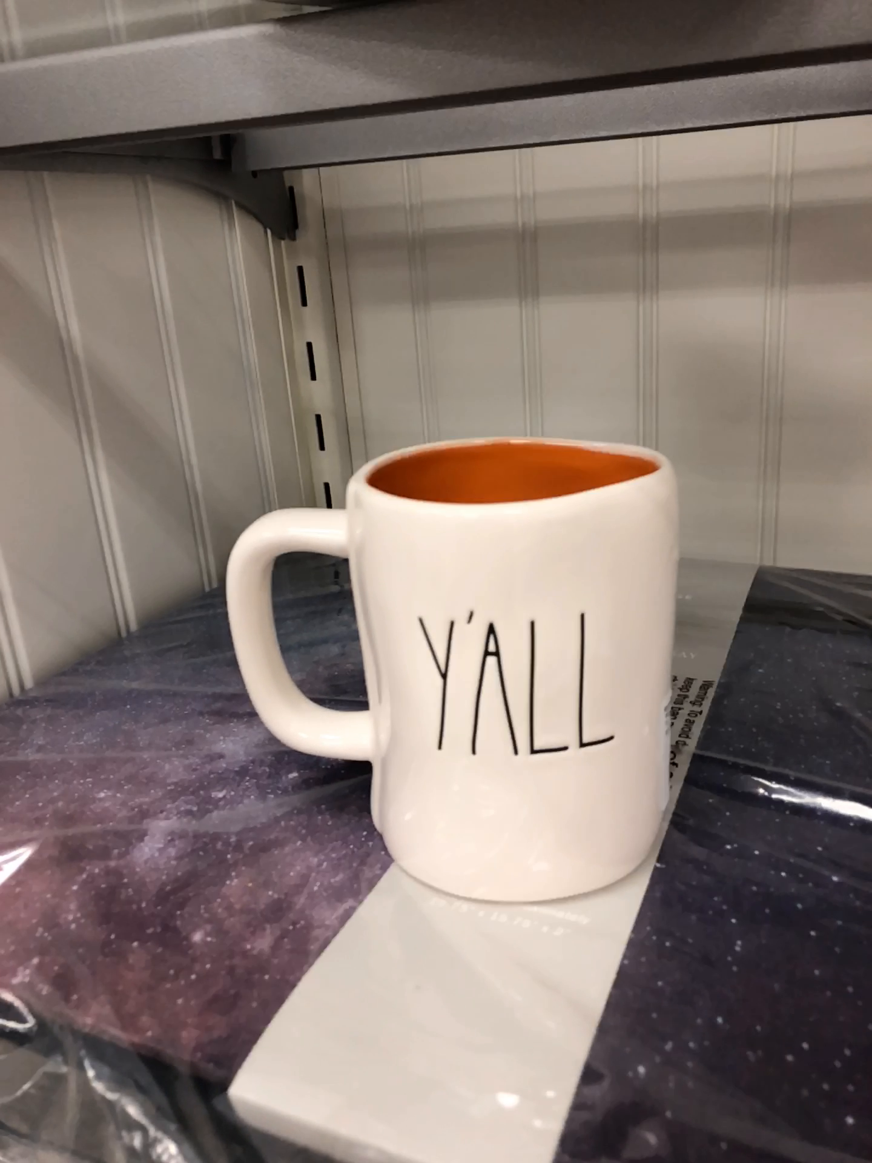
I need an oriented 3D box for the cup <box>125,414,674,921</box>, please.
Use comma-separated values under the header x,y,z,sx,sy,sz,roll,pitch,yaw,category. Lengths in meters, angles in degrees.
x,y,z,sx,sy,sz,roll,pitch,yaw,category
0.001,0.019,0.298,0.140,0.119,0.091,1,21,14,cup
